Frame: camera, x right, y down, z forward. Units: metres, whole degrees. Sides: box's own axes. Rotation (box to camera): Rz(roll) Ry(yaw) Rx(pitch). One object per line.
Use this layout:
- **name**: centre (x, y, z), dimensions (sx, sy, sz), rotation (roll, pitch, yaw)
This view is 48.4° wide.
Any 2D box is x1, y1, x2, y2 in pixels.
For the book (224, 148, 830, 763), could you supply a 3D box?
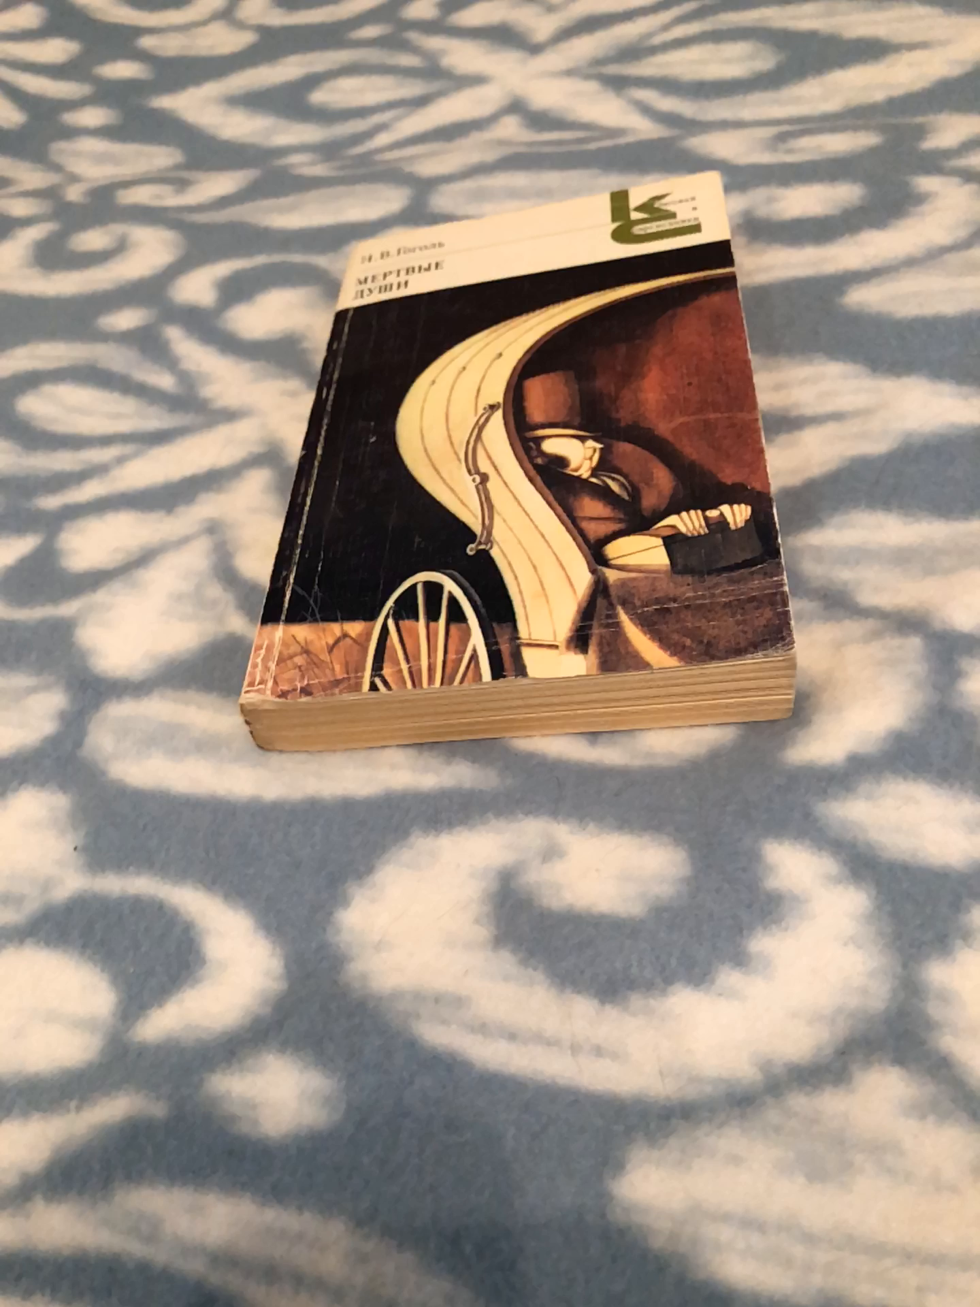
- **book**: centre (0.012, -0.065, 0.295), dimensions (0.125, 0.025, 0.200), rotation (-6, 49, 12)
